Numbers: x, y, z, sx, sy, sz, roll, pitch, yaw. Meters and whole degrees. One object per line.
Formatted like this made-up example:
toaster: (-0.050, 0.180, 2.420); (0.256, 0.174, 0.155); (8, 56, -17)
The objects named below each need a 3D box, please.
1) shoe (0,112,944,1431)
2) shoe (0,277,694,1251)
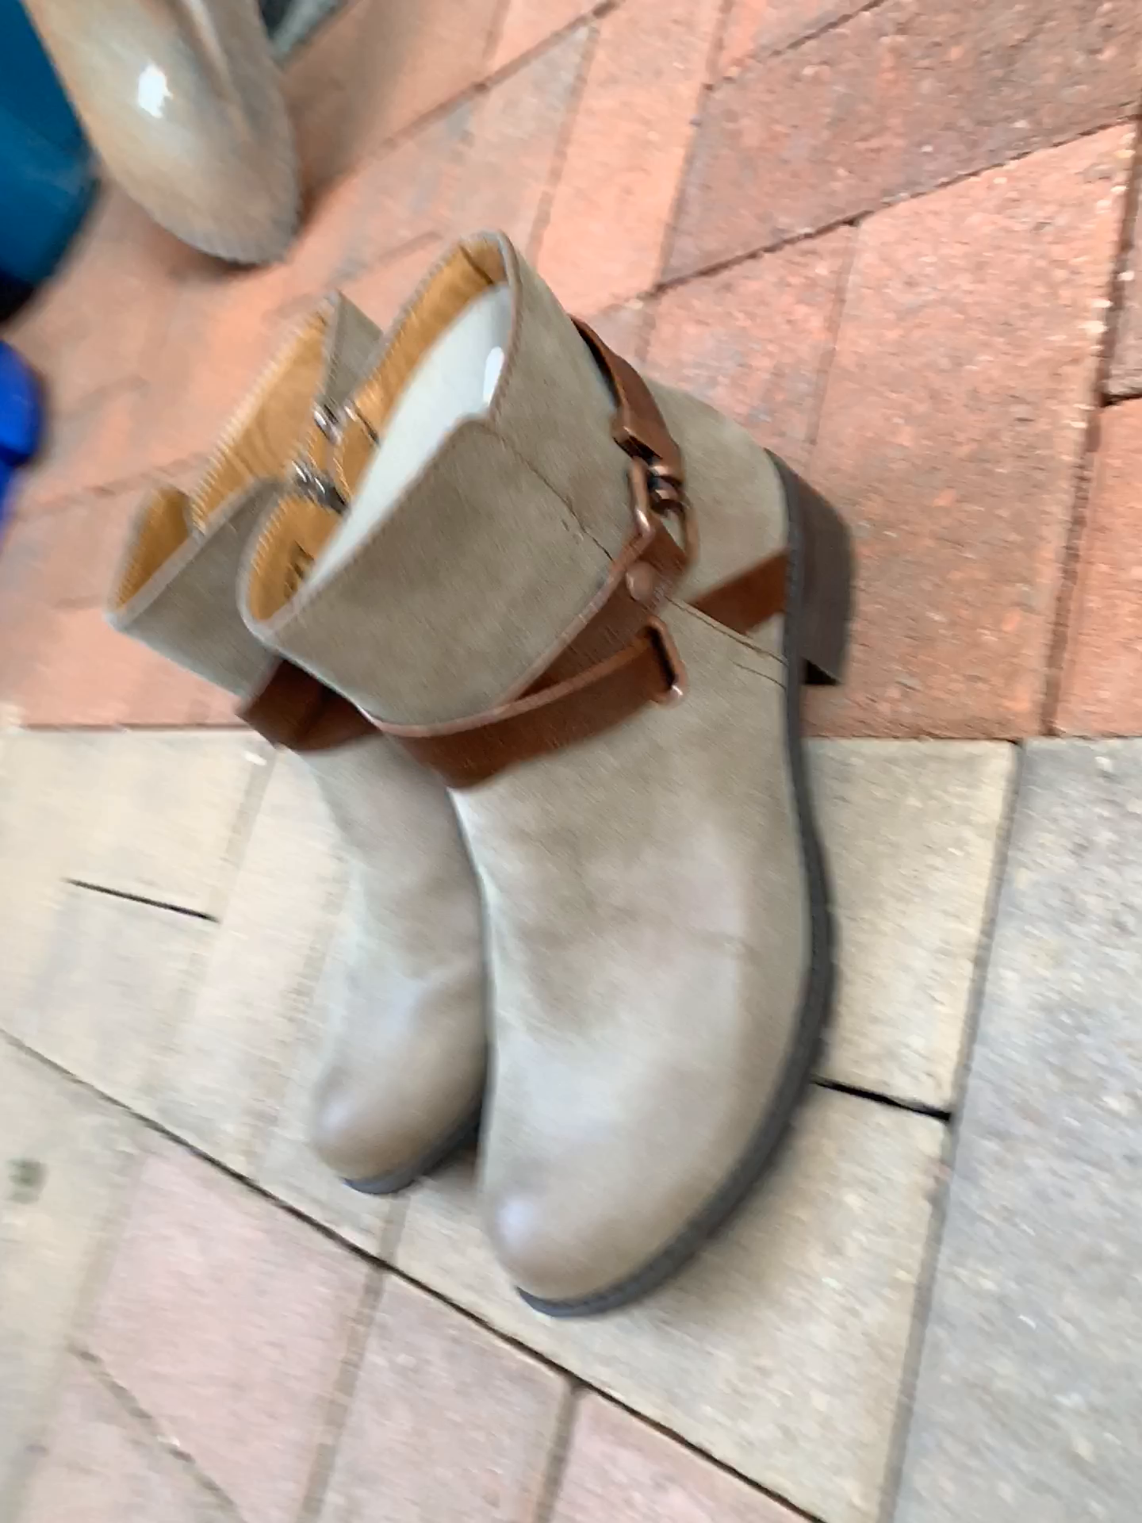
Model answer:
shoe: (-0.010, 0.012, 0.301); (0.096, 0.165, 0.251); (-1, 71, 48)
shoe: (-0.077, 0.011, 0.372); (0.096, 0.165, 0.239); (1, 73, 49)
